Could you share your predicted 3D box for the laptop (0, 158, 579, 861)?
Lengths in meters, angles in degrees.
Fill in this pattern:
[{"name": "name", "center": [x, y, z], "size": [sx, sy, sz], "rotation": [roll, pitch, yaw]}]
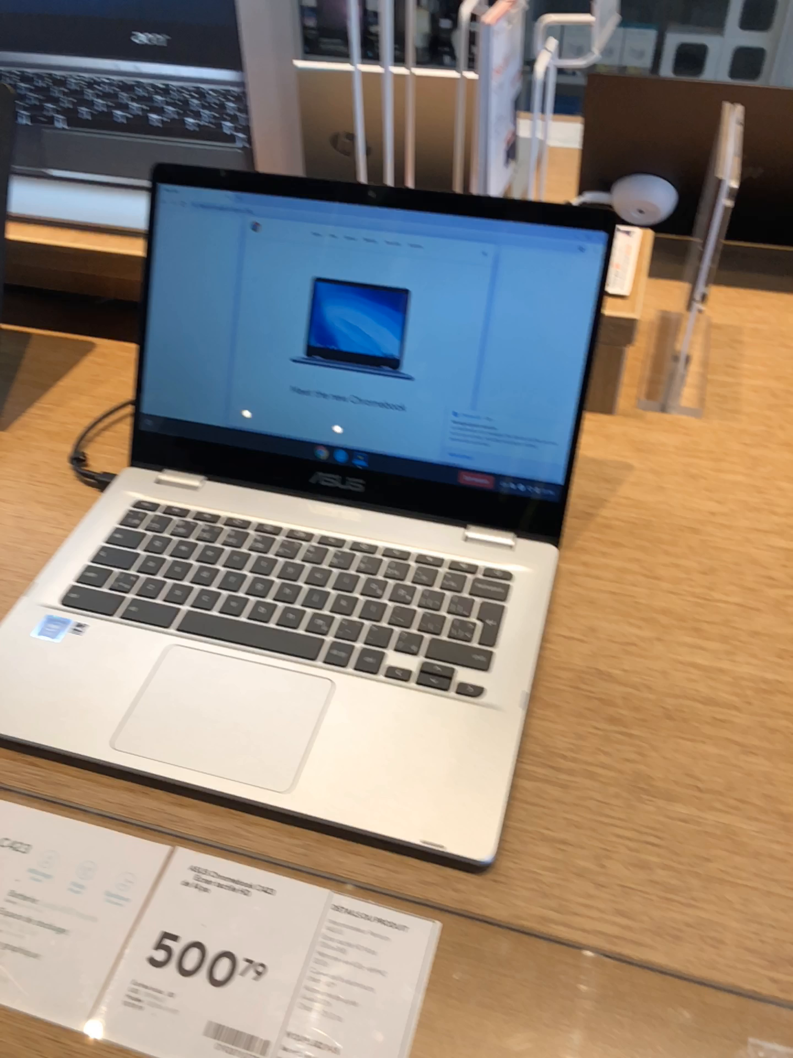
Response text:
[{"name": "laptop", "center": [-0.059, -0.044, 0.504], "size": [0.281, 0.186, 0.337], "rotation": [10, 43, 9]}]
